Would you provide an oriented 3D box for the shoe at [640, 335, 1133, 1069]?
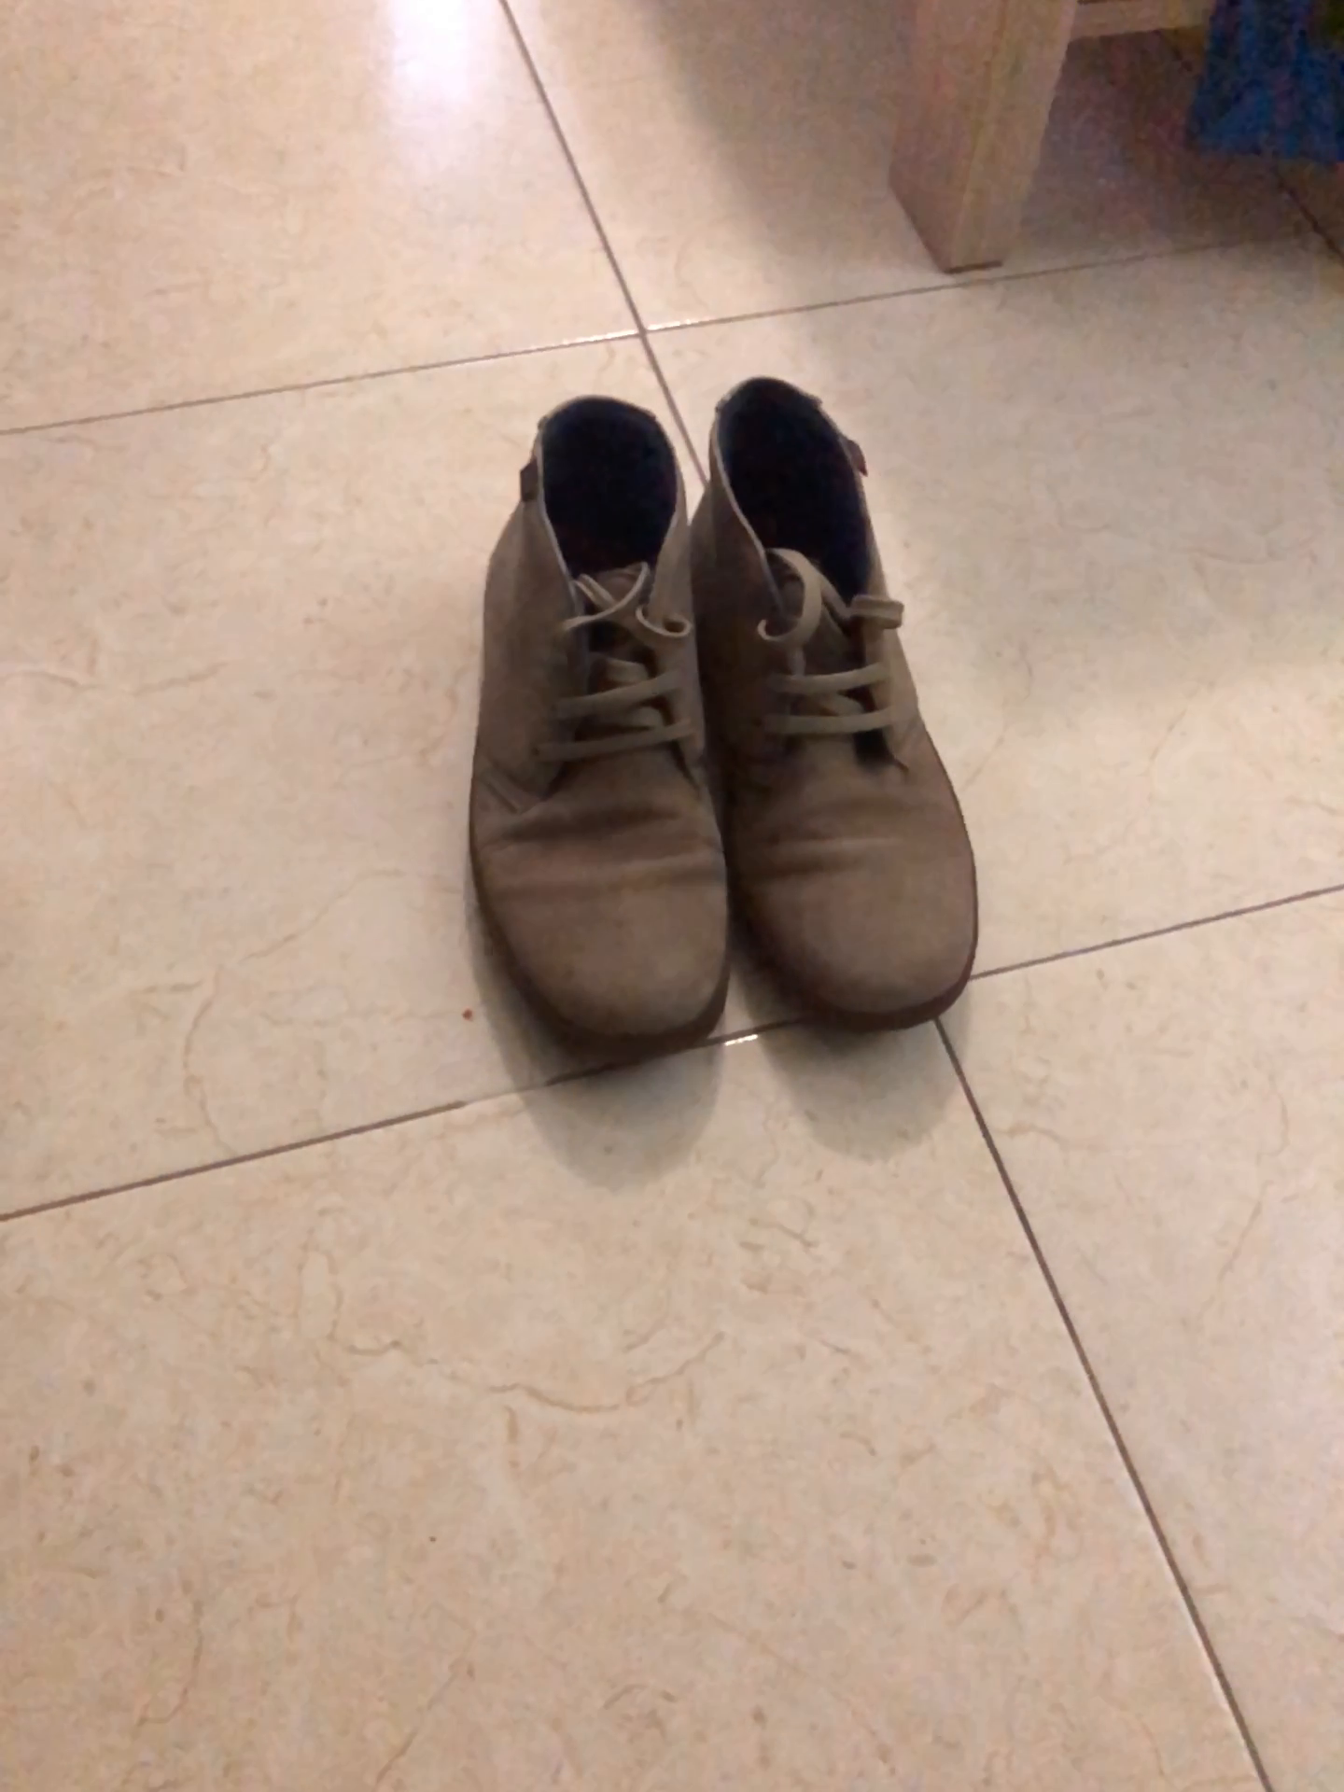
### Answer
[{"bbox_3d":[0.070,-0.088,0.620,0.120,0.120,0.281,-7,58,-7],"label":"shoe"}]

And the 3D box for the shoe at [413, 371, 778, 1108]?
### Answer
[{"bbox_3d":[-0.039,-0.071,0.612,0.110,0.120,0.281,-5,58,-6],"label":"shoe"}]
